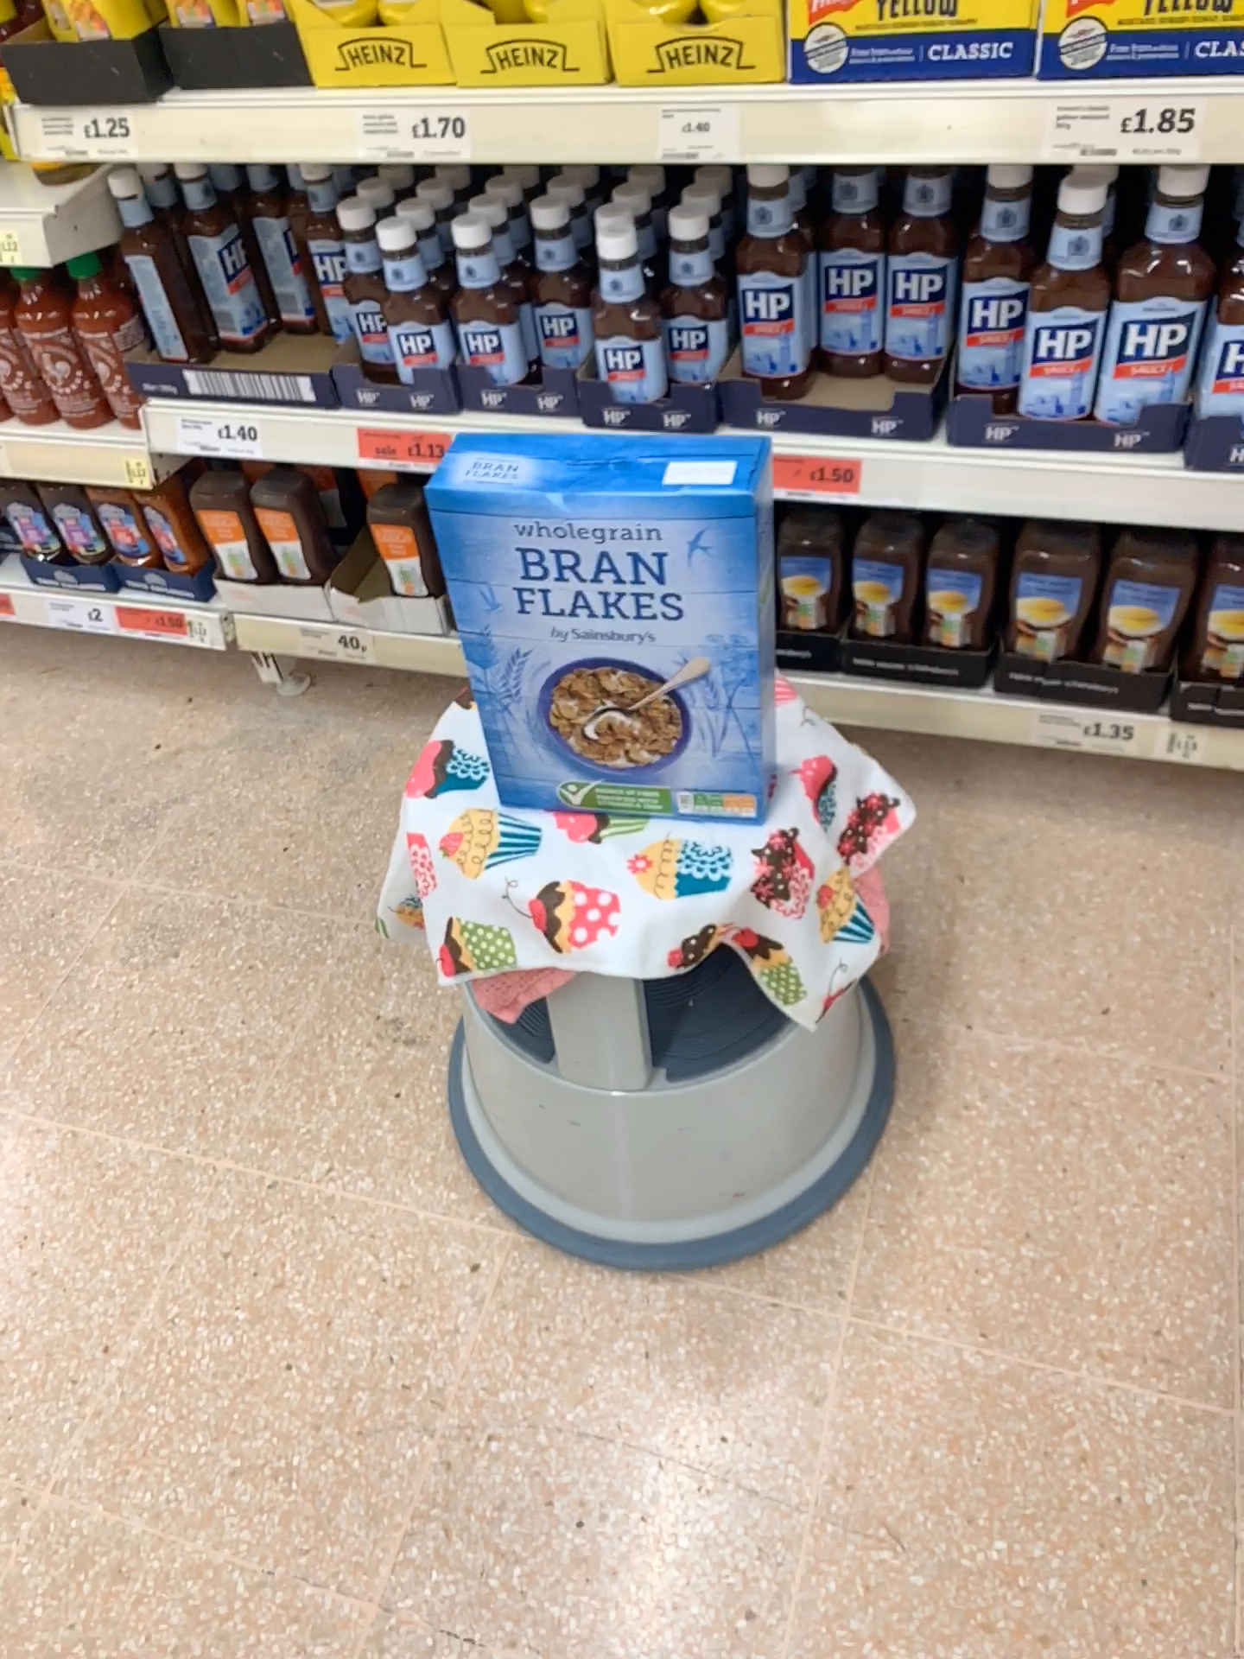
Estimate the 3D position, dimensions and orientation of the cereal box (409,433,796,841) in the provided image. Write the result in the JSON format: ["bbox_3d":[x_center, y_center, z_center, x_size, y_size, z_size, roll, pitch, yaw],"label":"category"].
[{"bbox_3d":[0.002,-0.119,0.829,0.210,0.258,0.081,4,46,13],"label":"cereal box"}]
